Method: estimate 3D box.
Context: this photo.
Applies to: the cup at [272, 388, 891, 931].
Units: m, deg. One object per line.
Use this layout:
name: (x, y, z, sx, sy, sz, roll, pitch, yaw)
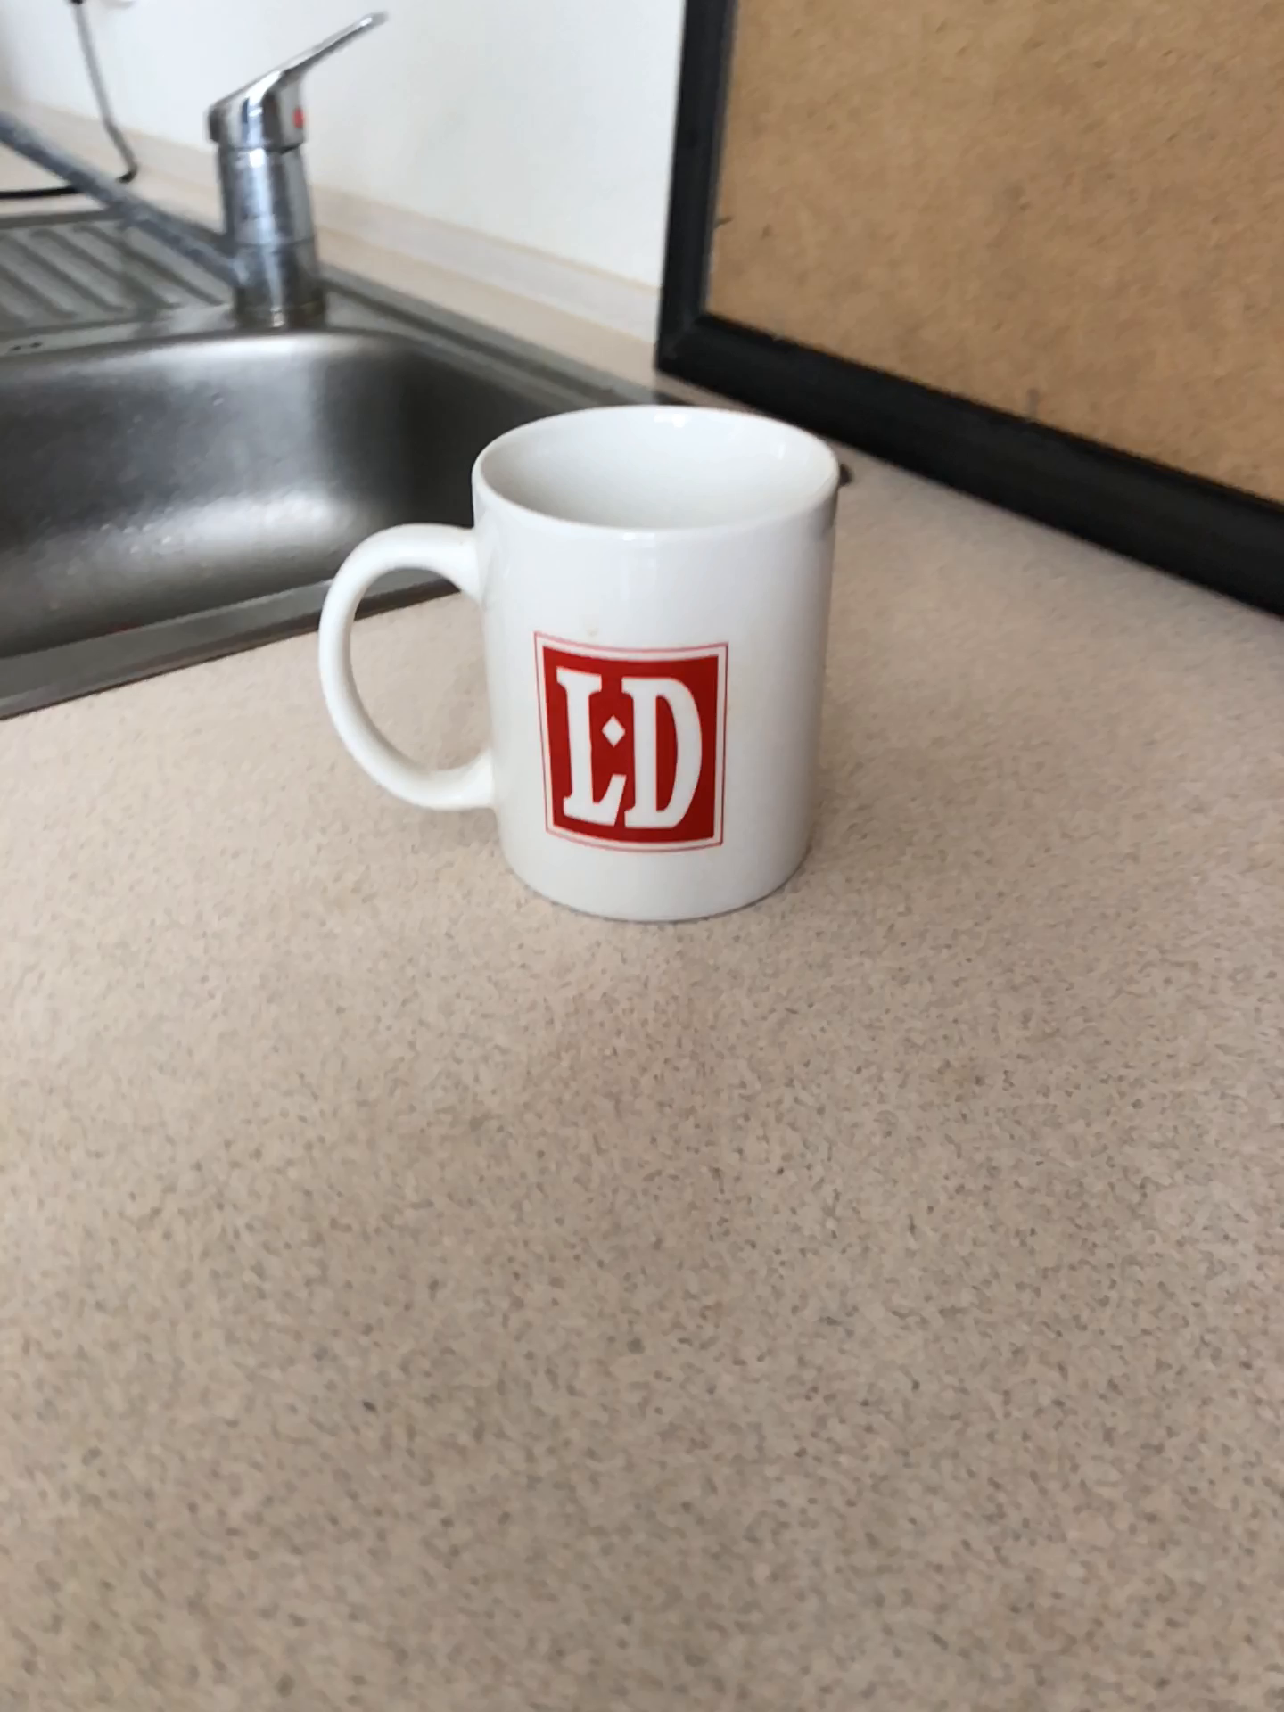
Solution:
cup: (-0.013, -0.049, 0.337, 0.120, 0.099, 0.085, -1, 34, -2)
